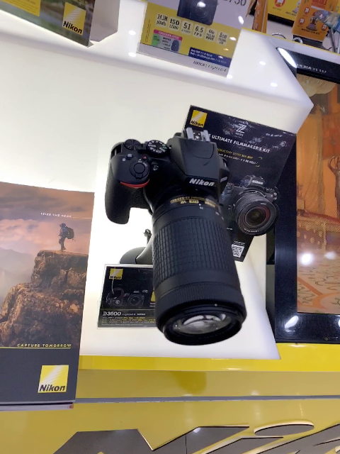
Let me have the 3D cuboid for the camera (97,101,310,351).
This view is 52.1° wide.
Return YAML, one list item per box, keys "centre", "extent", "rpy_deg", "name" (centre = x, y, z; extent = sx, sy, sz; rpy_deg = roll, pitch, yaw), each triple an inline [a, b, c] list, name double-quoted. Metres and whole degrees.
- centre: [0.005, -0.006, 0.297]
  extent: [0.120, 0.100, 0.180]
  rpy_deg: [3, 47, -17]
  name: "camera"
